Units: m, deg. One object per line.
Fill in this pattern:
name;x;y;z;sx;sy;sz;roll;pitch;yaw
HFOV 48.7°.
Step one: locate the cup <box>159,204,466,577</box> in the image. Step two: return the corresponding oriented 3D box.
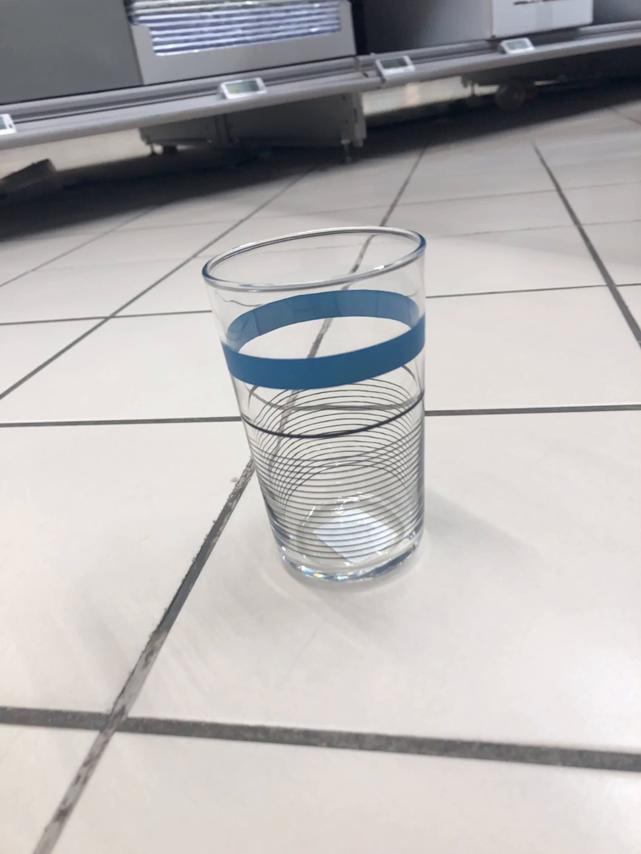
cup;0.007;-0.014;0.248;0.079;0.102;0.080;-7;26;3
